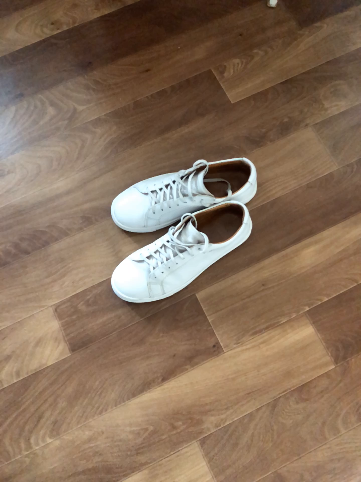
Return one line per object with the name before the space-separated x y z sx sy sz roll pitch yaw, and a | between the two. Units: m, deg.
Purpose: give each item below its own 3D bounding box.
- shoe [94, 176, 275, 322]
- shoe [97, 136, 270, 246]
shoe | 0.008 0.017 0.692 0.280 0.090 0.110 -30 77 -6
shoe | 0.005 -0.088 0.724 0.280 0.090 0.110 -14 76 -2
